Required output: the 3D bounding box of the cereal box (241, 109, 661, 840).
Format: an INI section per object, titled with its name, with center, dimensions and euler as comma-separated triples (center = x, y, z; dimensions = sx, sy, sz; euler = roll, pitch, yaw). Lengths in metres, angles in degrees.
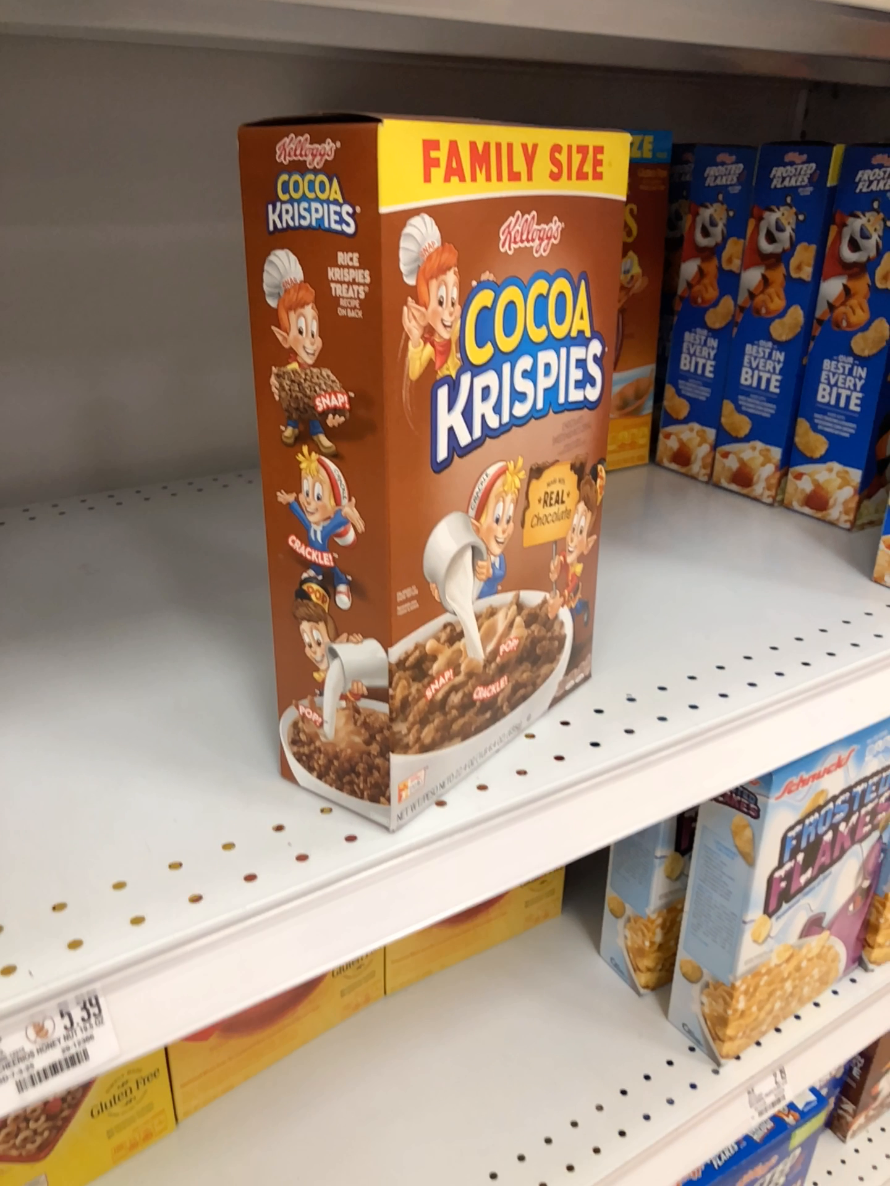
[cereal box]
center = 0.011, -0.065, 0.477
dimensions = 0.070, 0.299, 0.200
euler = 19, 31, 33
